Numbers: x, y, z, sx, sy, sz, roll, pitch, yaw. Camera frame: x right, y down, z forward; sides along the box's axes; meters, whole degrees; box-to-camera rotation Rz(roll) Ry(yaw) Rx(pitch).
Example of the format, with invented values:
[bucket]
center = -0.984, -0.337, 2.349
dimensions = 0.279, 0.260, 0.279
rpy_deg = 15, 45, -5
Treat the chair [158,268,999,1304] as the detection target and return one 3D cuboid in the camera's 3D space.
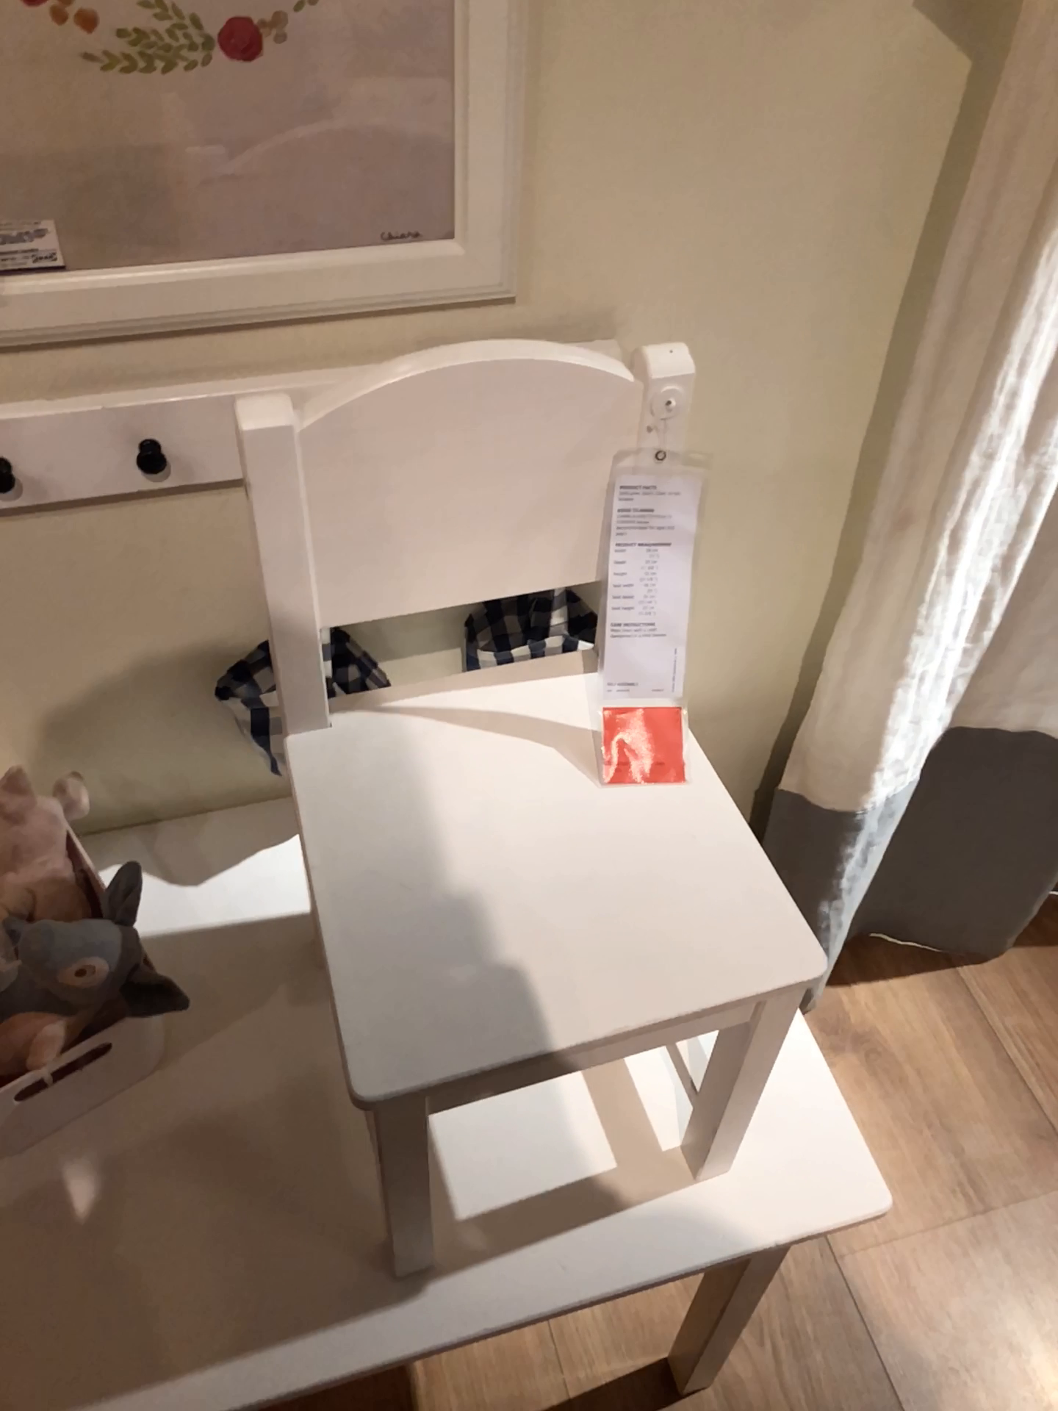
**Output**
[chair]
center = -0.013, 0.078, 0.741
dimensions = 0.300, 0.556, 0.322
rpy_deg = -12, 48, -15
